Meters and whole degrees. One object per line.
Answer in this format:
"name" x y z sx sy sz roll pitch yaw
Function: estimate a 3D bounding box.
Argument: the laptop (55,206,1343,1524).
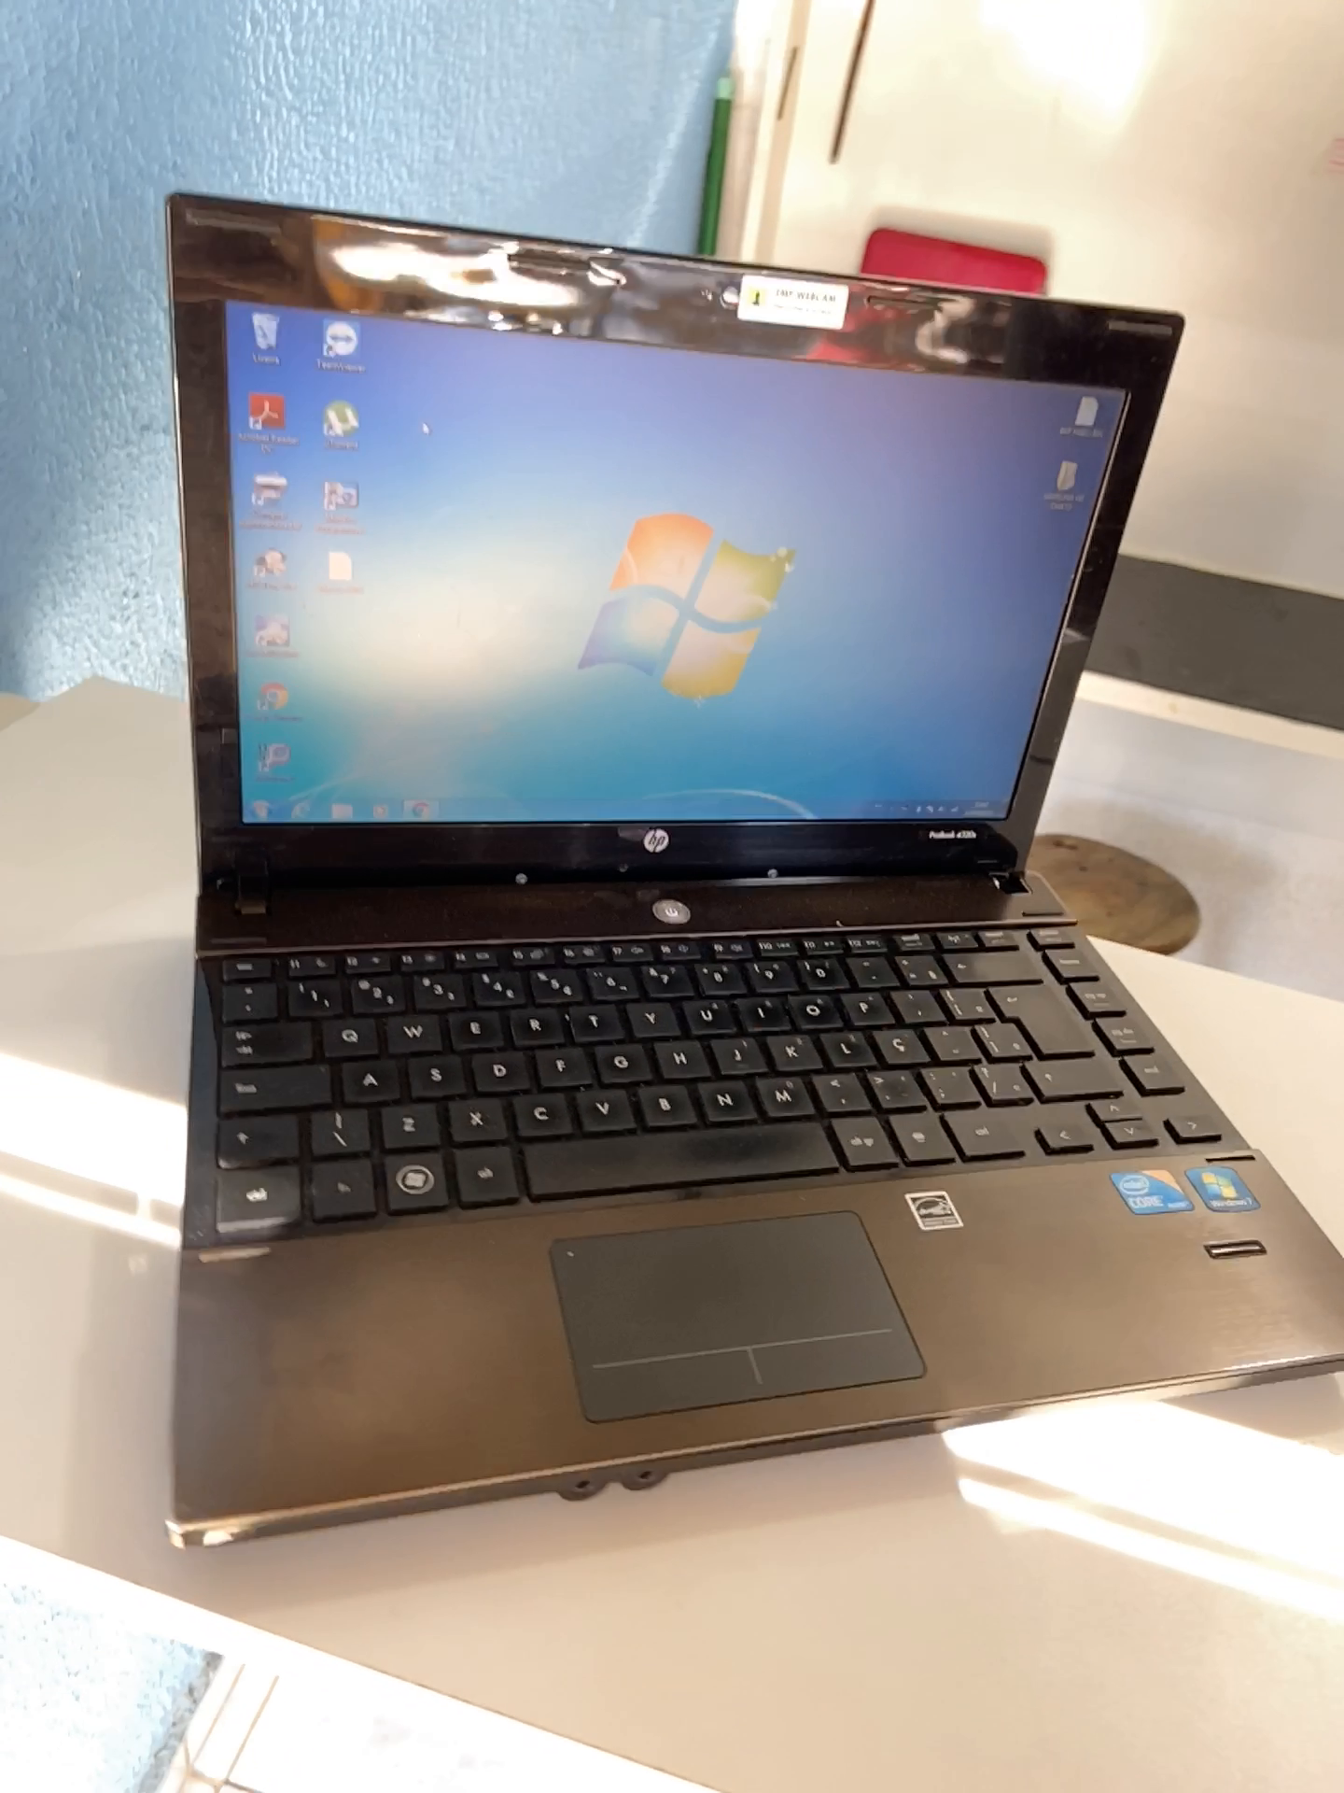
"laptop" 0.031 -0.035 0.384 0.322 0.207 0.260 -2 35 -15
